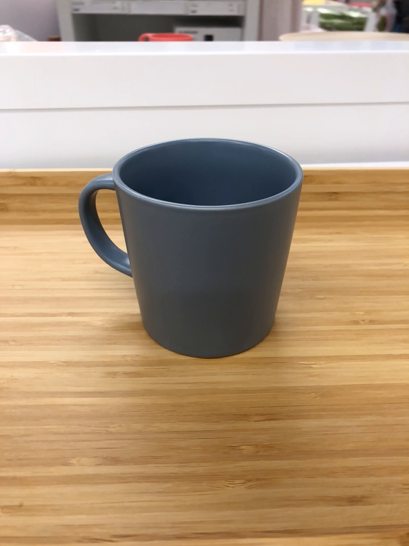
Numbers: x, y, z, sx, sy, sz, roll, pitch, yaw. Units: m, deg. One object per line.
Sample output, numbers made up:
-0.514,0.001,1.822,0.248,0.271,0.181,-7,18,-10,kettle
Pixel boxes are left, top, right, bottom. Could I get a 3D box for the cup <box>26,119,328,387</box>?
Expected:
-0.009,-0.020,0.249,0.120,0.090,0.090,14,35,19,cup
